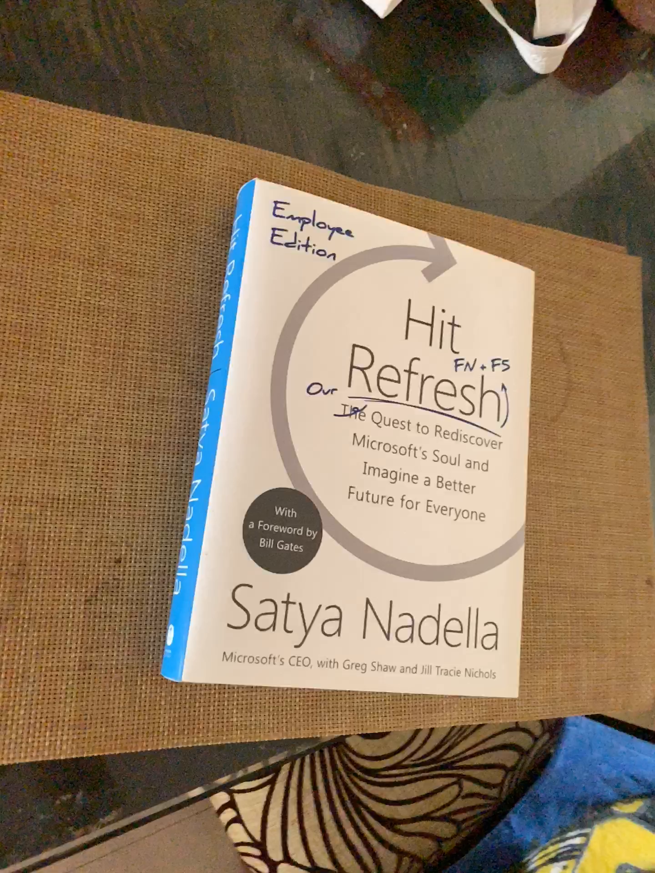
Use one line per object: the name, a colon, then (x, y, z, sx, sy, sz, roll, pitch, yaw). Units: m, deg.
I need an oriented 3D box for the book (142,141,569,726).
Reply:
book: (0.029, 0.004, 0.339, 0.190, 0.040, 0.250, 12, 75, -21)
